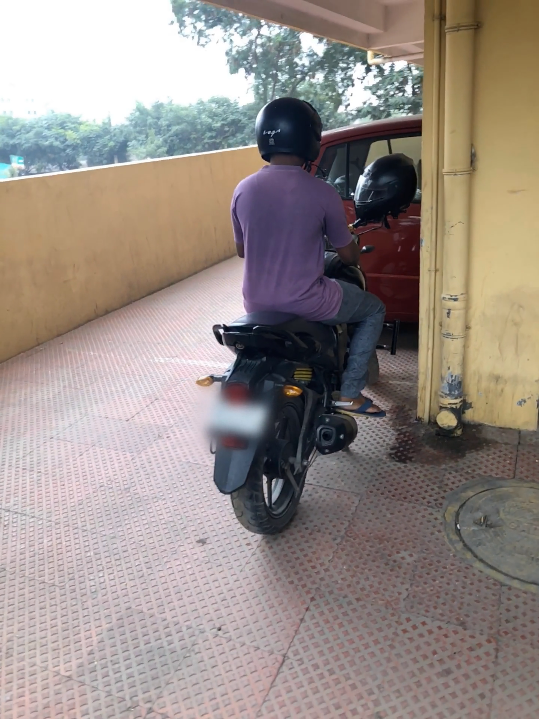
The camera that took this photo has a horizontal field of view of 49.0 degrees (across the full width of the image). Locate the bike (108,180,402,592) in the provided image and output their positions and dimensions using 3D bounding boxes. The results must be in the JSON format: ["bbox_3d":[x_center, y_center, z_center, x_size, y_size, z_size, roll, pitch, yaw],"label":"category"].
[{"bbox_3d":[0.154,-0.126,2.844,0.852,1.156,1.915,2,23,15],"label":"bike"}]
